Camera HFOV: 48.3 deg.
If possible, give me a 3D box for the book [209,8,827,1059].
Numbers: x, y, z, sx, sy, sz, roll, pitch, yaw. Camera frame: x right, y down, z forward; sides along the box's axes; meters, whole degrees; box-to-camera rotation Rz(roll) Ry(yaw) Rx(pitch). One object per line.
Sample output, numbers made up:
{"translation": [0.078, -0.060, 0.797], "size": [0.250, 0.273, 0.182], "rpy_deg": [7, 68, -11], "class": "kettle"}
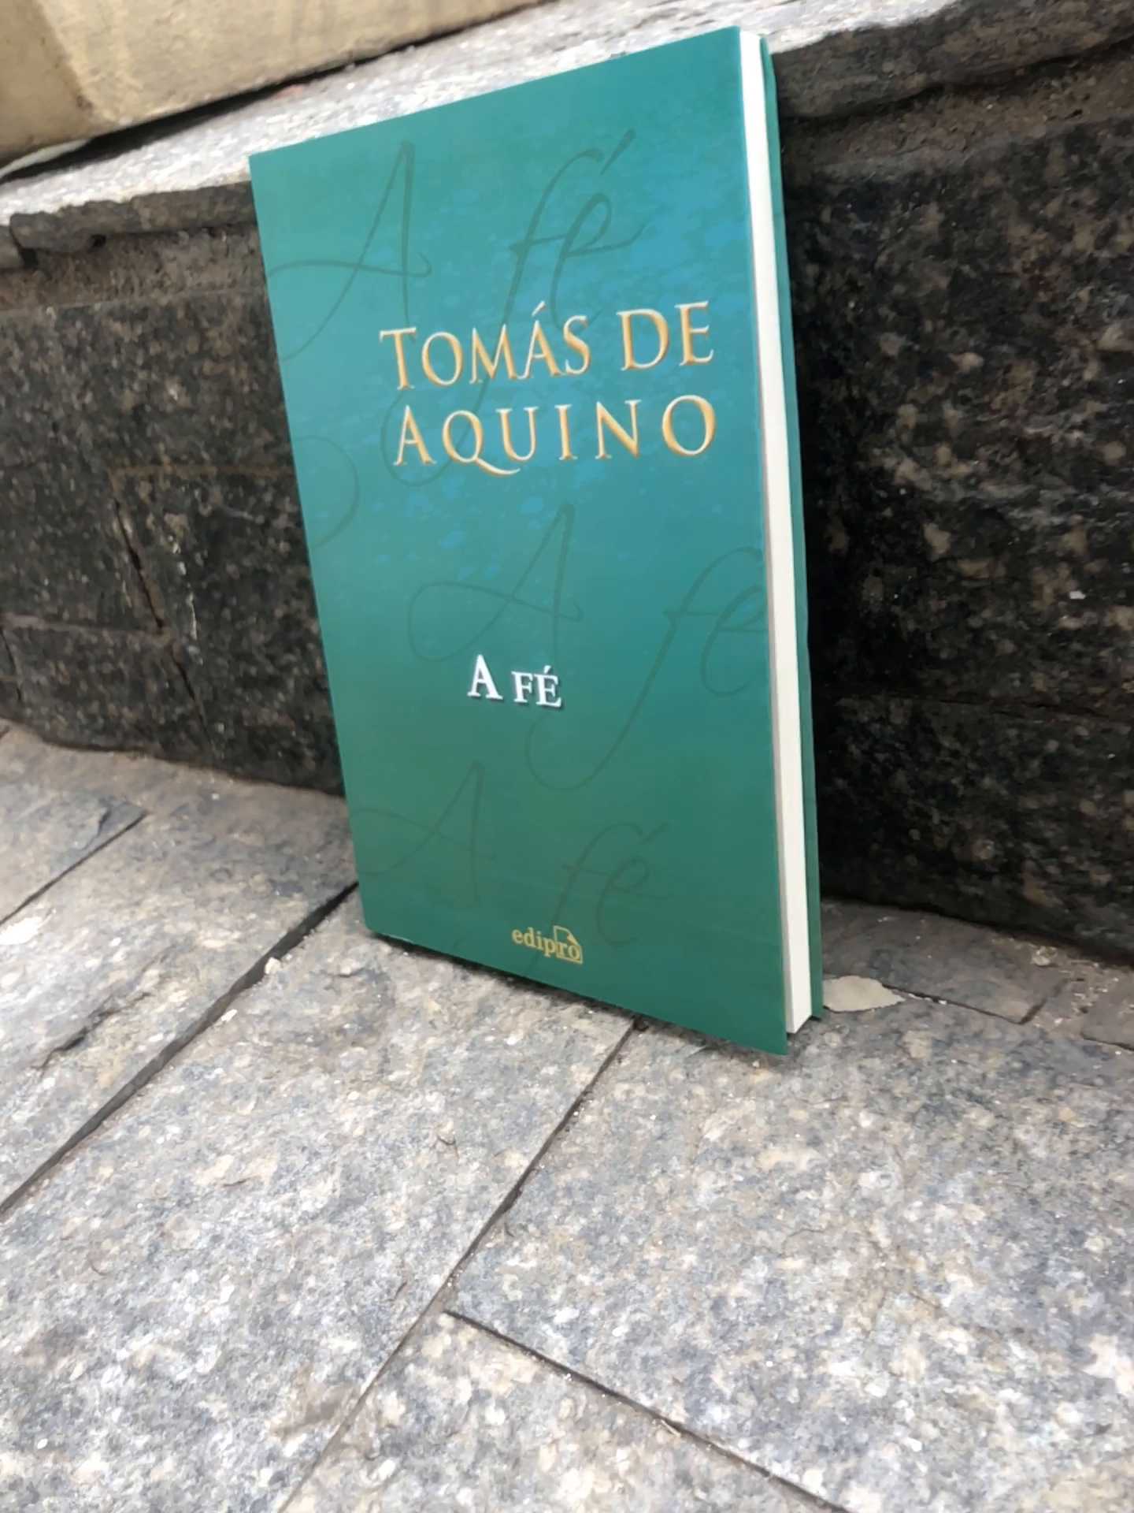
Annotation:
{"translation": [-0.012, -0.042, 0.290], "size": [0.142, 0.199, 0.020], "rpy_deg": [9, 23, 37], "class": "book"}
